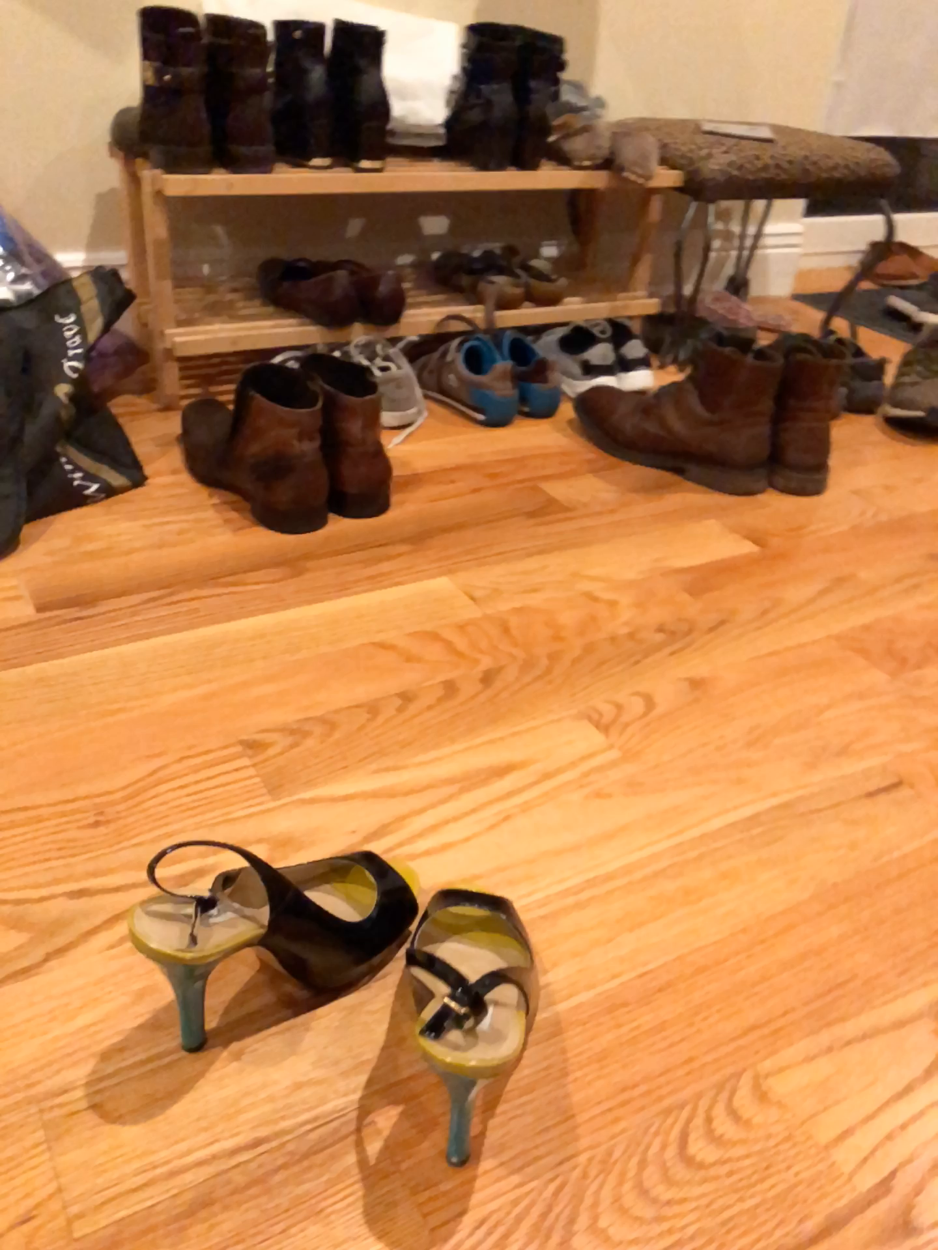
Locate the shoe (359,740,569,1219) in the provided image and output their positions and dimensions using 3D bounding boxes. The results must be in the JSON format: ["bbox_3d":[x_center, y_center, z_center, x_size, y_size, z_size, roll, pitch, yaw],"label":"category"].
[{"bbox_3d":[0.002,0.182,0.567,0.085,0.131,0.202,7,32,2],"label":"shoe"}]

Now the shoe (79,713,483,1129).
[{"bbox_3d":[-0.099,0.158,0.590,0.205,0.121,0.085,-25,43,-39],"label":"shoe"}]
